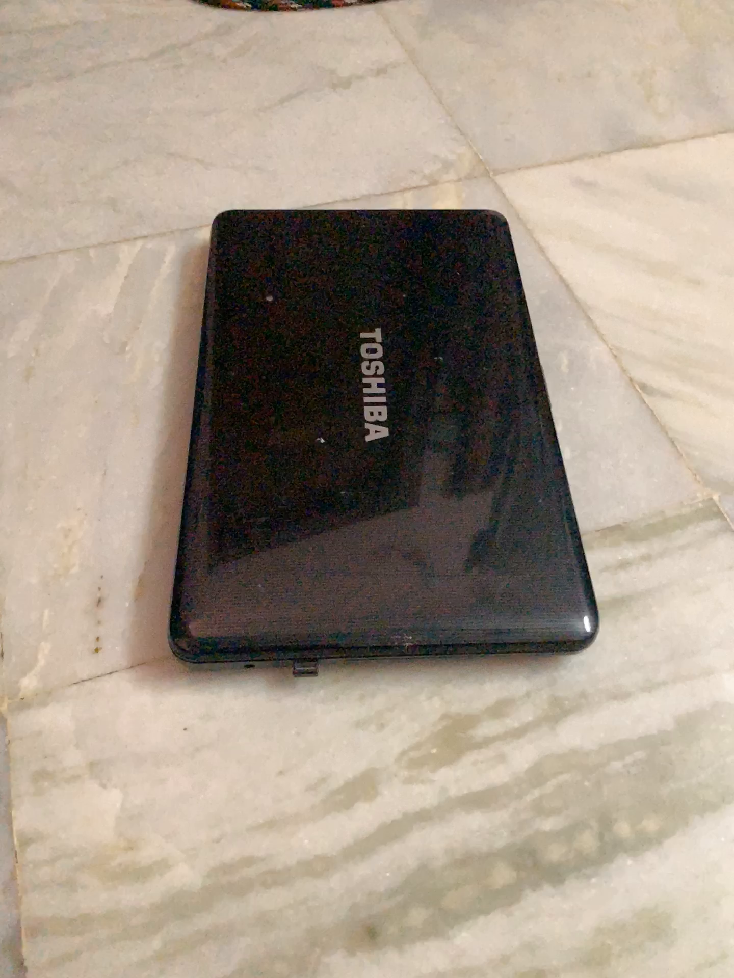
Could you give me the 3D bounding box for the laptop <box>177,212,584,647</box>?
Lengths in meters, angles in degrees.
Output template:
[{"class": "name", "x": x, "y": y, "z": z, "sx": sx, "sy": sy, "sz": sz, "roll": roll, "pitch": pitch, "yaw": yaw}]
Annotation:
[{"class": "laptop", "x": 0.001, "y": -0.068, "z": 0.503, "sx": 0.222, "sy": 0.003, "sz": 0.356, "roll": -1, "pitch": 58, "yaw": -4}]
